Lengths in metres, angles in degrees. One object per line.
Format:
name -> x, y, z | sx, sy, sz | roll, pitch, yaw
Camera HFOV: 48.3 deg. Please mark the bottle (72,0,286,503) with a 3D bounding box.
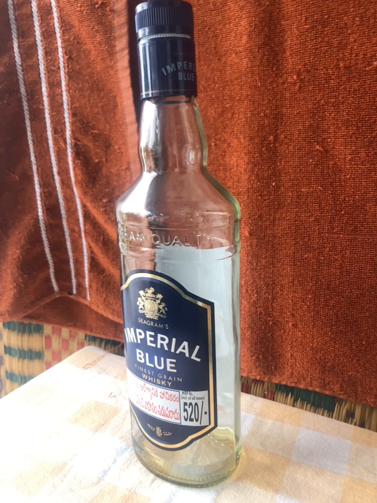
bottle -> -0.001, -0.006, 0.266 | 0.090, 0.309, 0.070 | 9, 19, 33
